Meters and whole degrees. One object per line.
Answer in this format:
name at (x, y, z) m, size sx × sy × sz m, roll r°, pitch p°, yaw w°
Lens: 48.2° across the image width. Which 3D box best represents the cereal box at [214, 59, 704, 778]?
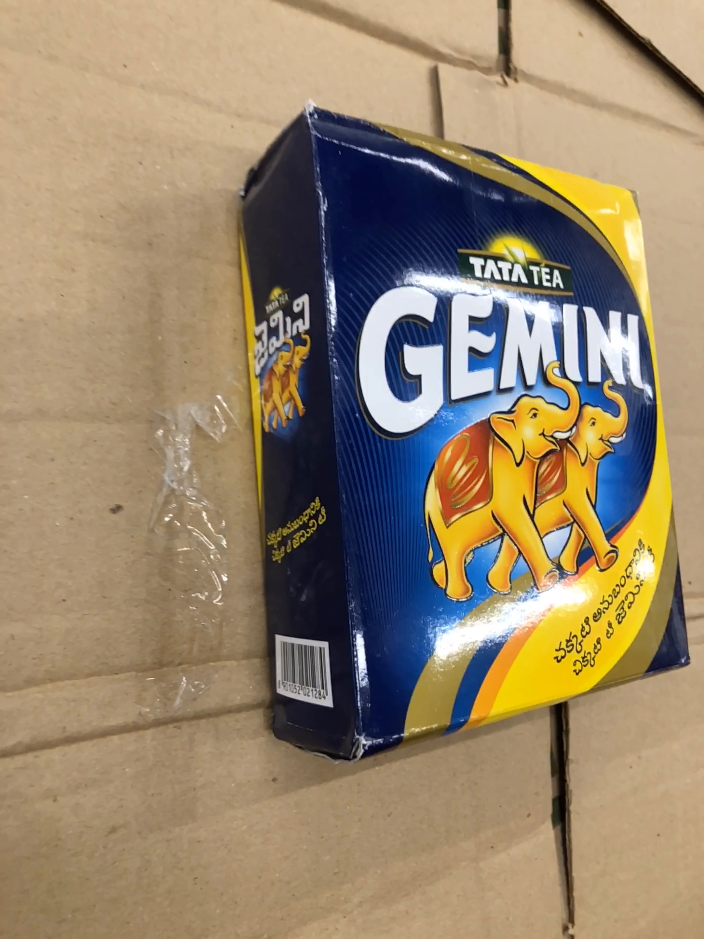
cereal box at (0.038, -0.014, 0.244) m, size 0.141 × 0.050 × 0.170 m, roll -2°, pitch 87°, yaw -33°
